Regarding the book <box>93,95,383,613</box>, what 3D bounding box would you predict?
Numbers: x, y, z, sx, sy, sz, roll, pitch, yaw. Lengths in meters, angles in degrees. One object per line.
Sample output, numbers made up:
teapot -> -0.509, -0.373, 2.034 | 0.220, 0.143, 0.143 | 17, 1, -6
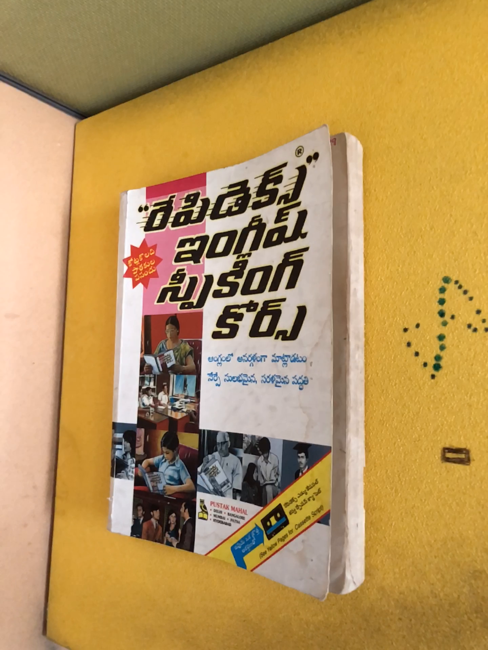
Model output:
book -> -0.013, 0.013, 0.329 | 0.191, 0.030, 0.250 | -4, 82, 37
